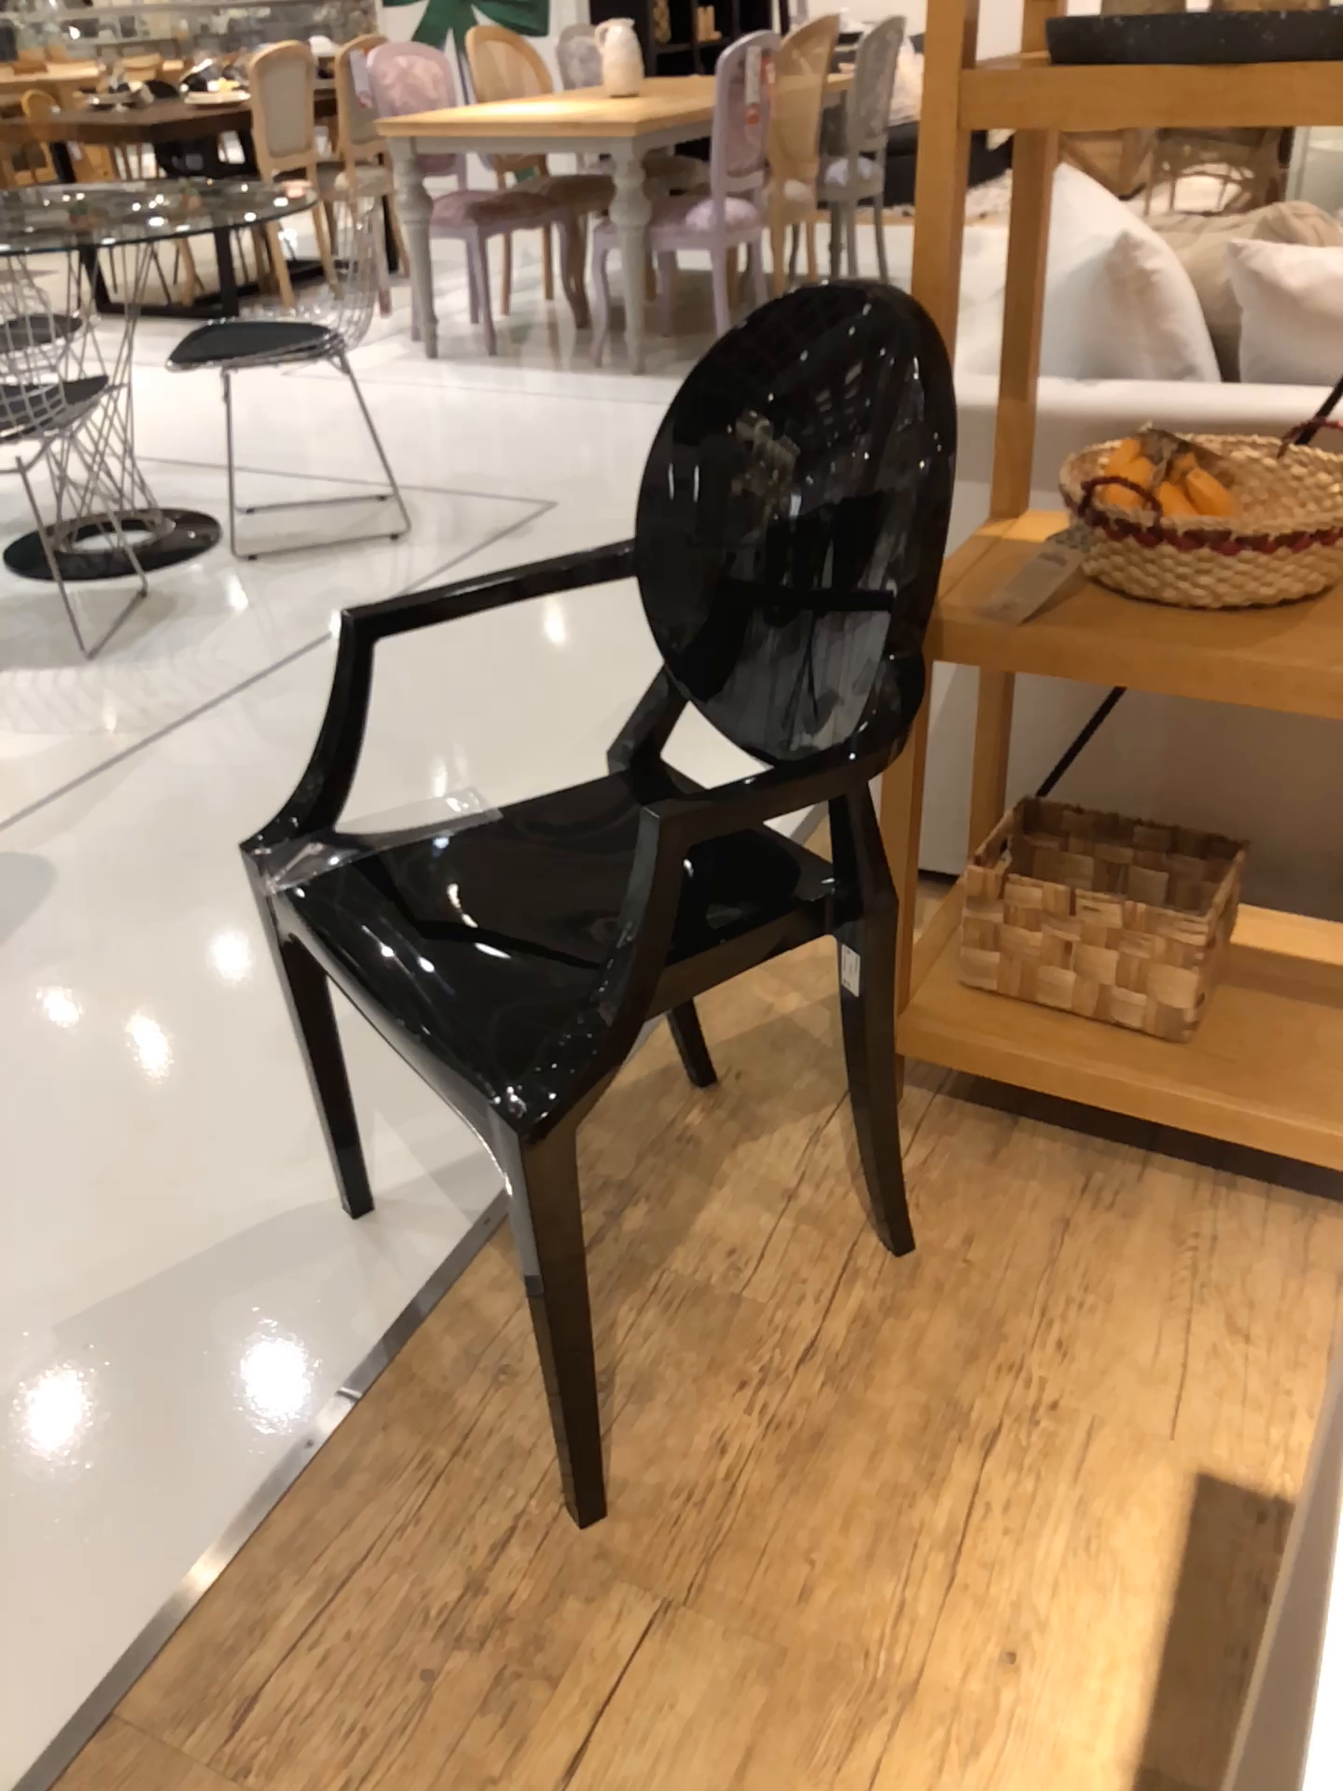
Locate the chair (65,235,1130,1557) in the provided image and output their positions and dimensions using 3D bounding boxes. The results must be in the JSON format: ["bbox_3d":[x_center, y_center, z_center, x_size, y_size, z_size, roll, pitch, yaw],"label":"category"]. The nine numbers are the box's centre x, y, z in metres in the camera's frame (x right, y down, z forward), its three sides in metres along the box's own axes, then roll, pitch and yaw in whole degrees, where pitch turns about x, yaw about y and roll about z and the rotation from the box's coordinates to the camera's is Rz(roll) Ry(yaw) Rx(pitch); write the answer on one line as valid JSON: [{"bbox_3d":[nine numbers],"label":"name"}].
[{"bbox_3d":[-0.043,-0.048,1.337,0.592,0.903,0.543,-25,37,-32],"label":"chair"}]
